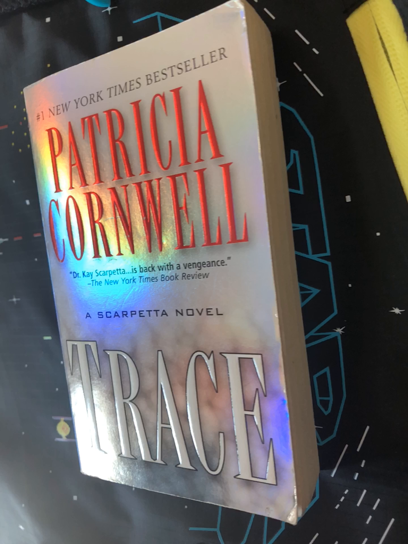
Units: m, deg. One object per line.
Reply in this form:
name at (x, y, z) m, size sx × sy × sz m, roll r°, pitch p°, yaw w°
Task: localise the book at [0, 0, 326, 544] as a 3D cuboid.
book at (-0.026, 0.001, 0.180) m, size 0.121 × 0.040 × 0.170 m, roll -4°, pitch 94°, yaw 34°
